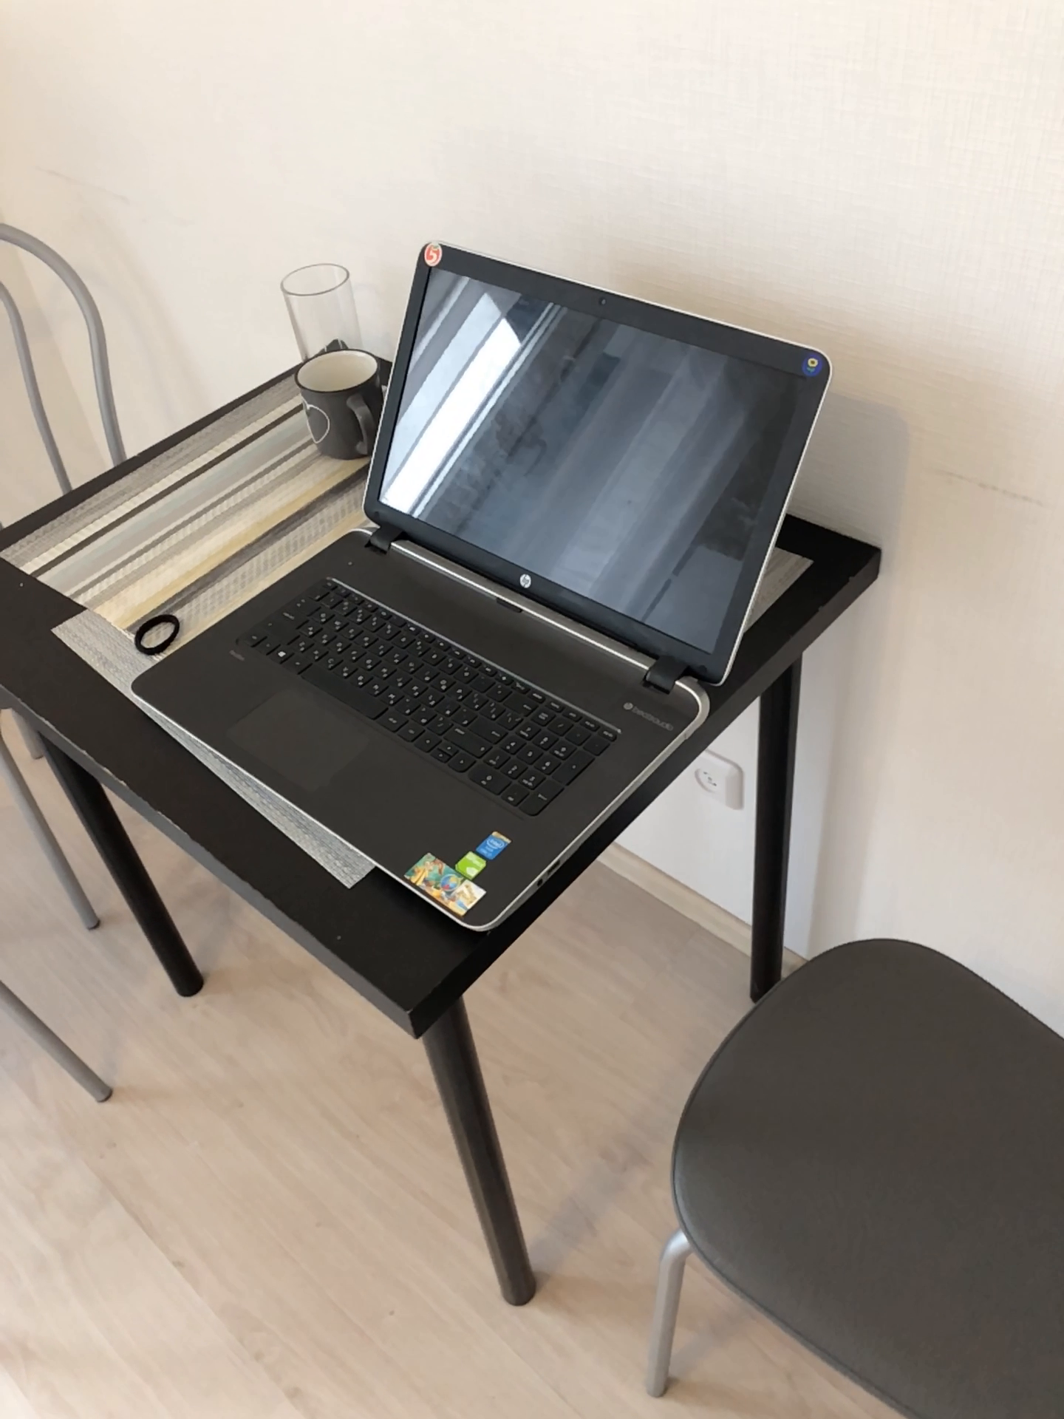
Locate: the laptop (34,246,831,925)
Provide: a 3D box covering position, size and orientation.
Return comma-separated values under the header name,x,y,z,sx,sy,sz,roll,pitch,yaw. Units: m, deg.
name,x,y,z,sx,sy,sz,roll,pitch,yaw
laptop,-0.065,-0.137,0.929,0.416,0.227,0.413,29,55,32
